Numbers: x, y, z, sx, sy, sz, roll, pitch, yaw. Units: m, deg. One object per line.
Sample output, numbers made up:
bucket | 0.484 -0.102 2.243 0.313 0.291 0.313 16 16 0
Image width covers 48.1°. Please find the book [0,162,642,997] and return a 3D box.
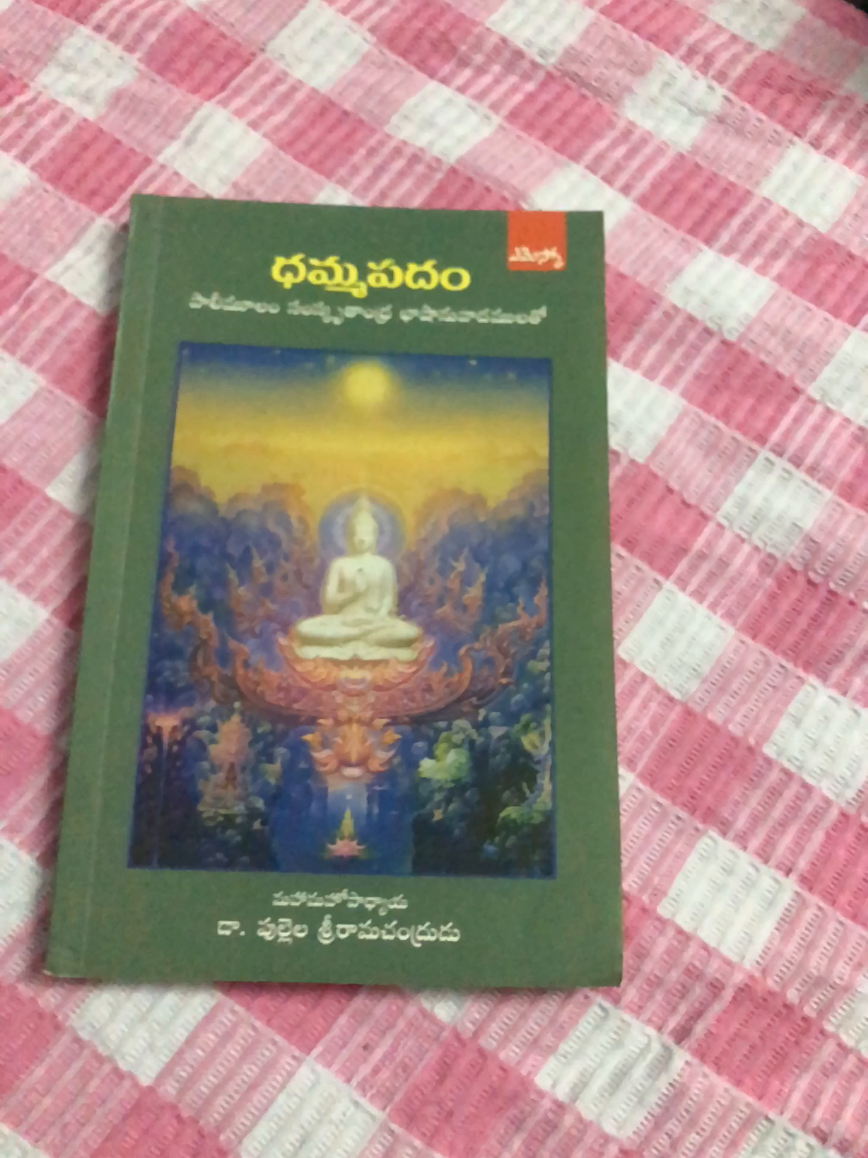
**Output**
book | -0.025 -0.007 0.239 0.140 0.020 0.200 2 74 -4
